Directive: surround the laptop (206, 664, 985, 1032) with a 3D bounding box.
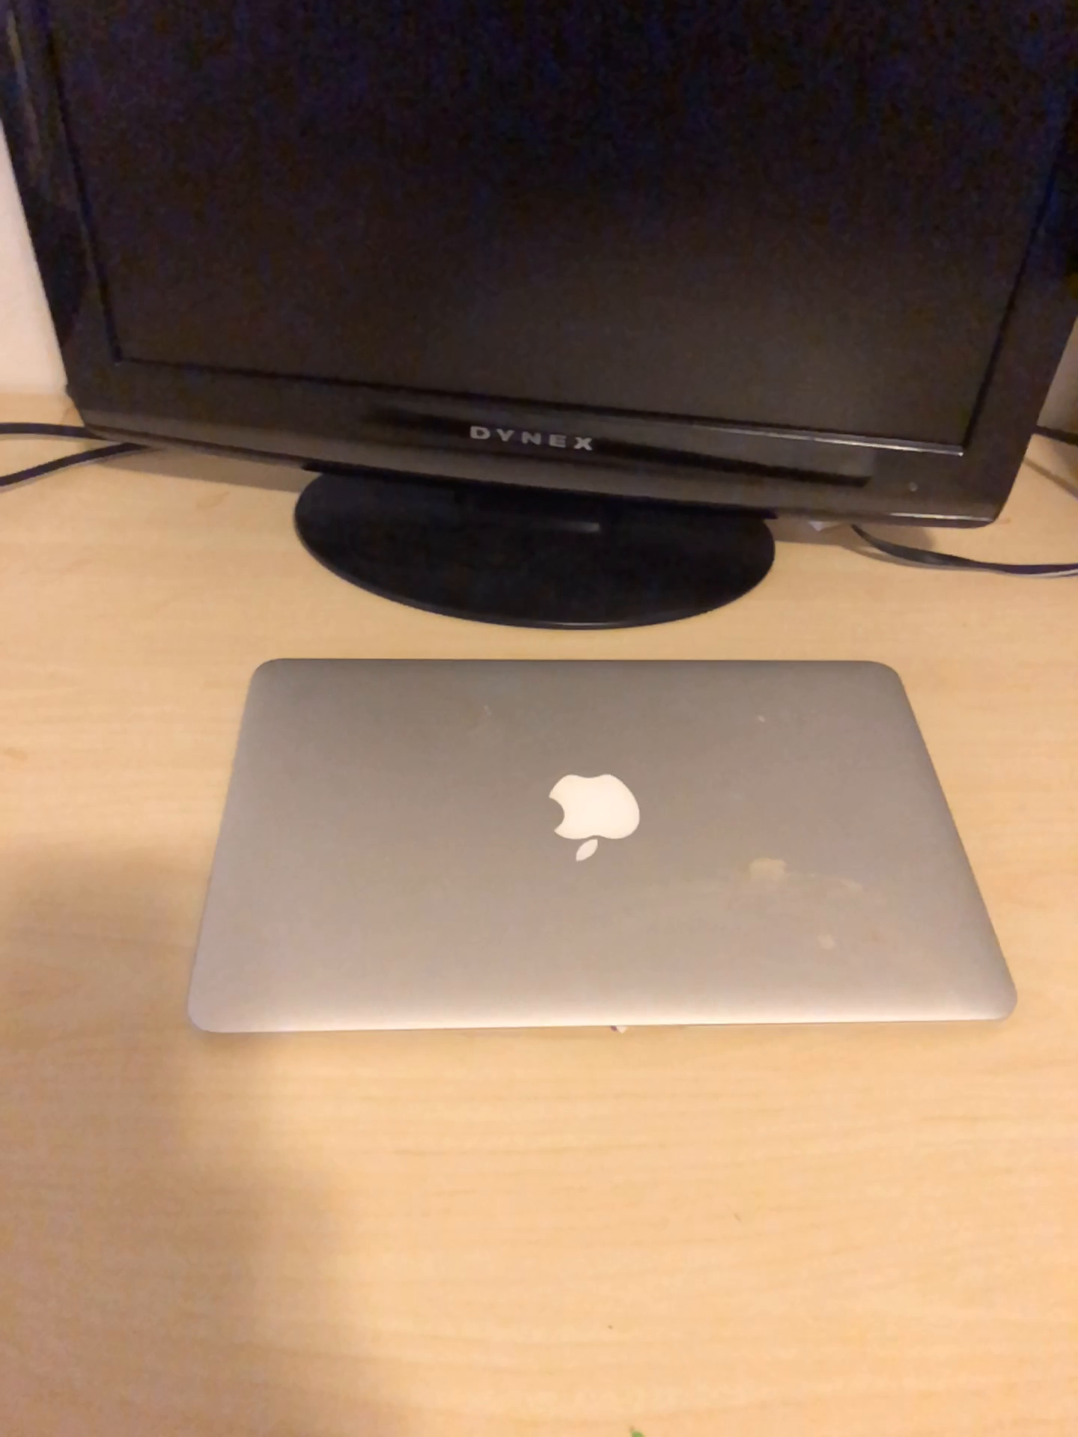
[{"bbox_3d":[0.020,0.043,0.484,0.278,0.005,0.182,1,45,-5],"label":"laptop"}]
